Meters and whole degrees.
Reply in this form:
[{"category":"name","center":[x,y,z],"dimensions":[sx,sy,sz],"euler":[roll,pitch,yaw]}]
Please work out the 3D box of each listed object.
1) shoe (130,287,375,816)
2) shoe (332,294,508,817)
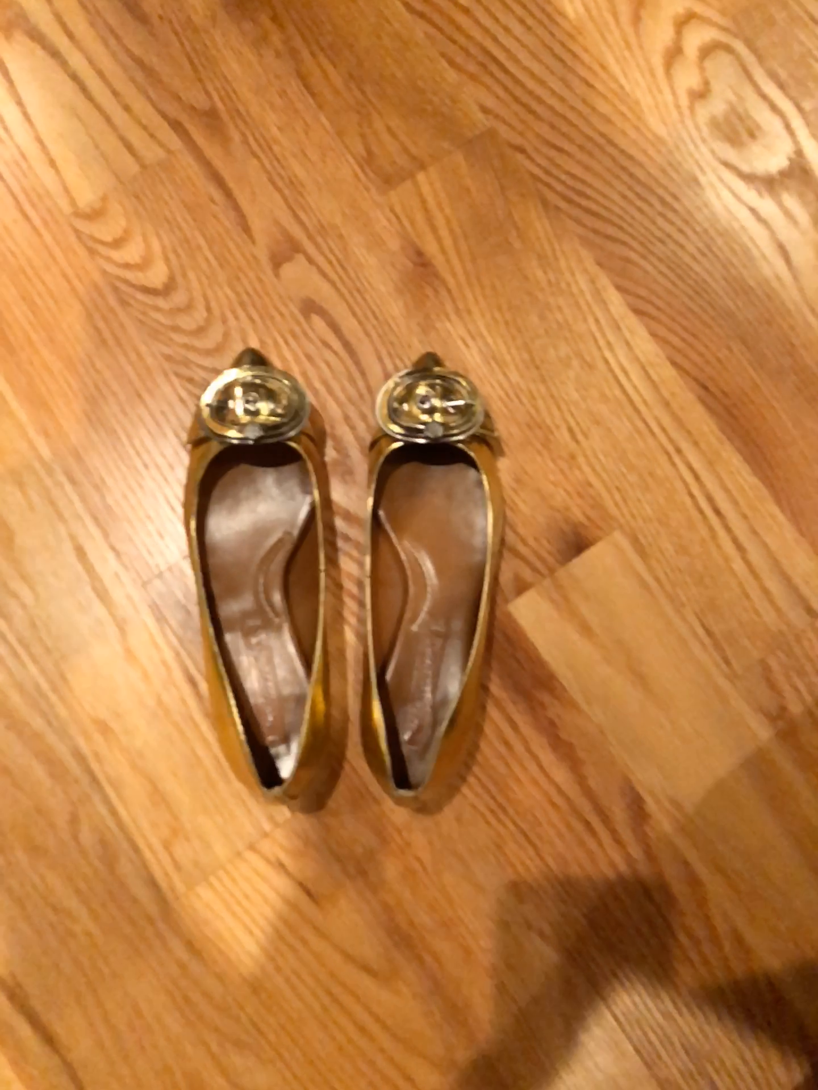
[{"category":"shoe","center":[-0.077,0.002,0.456],"dimensions":[0.083,0.066,0.244],"euler":[-9,82,-3]},{"category":"shoe","center":[0.006,0.005,0.457],"dimensions":[0.077,0.066,0.249],"euler":[2,82,-1]}]
